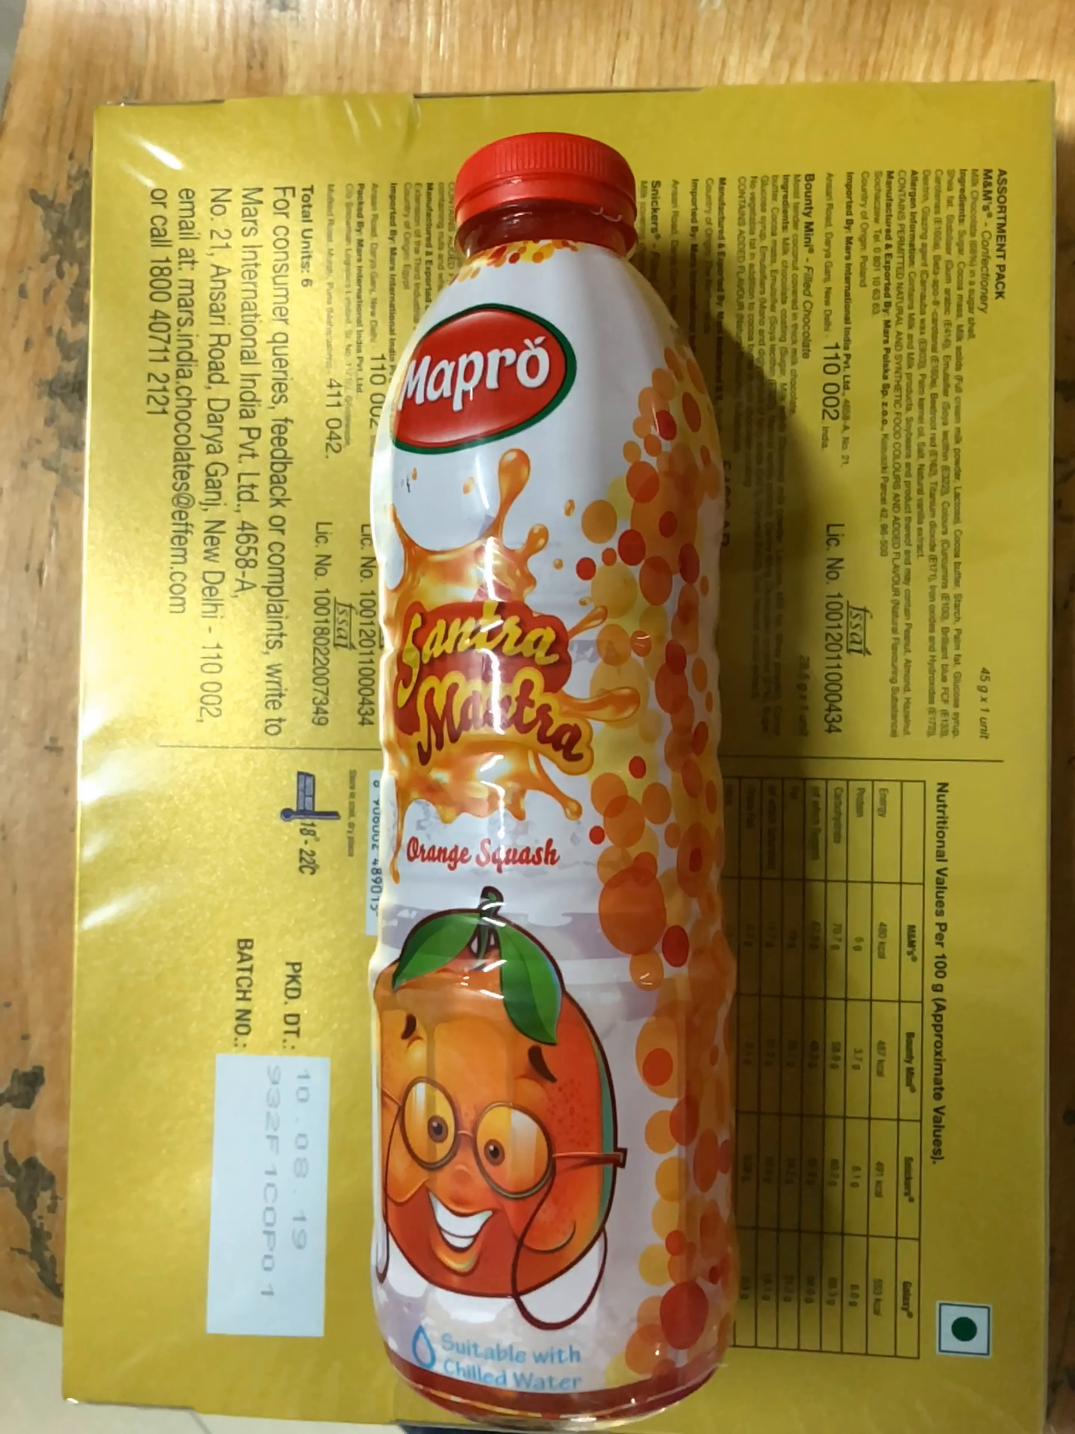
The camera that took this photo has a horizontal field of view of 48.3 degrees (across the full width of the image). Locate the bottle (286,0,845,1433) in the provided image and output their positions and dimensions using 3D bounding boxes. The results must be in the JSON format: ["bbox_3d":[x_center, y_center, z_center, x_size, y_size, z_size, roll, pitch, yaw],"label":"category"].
[{"bbox_3d":[0.007,-0.003,0.282,0.090,0.090,0.300,0,92,46],"label":"bottle"}]
